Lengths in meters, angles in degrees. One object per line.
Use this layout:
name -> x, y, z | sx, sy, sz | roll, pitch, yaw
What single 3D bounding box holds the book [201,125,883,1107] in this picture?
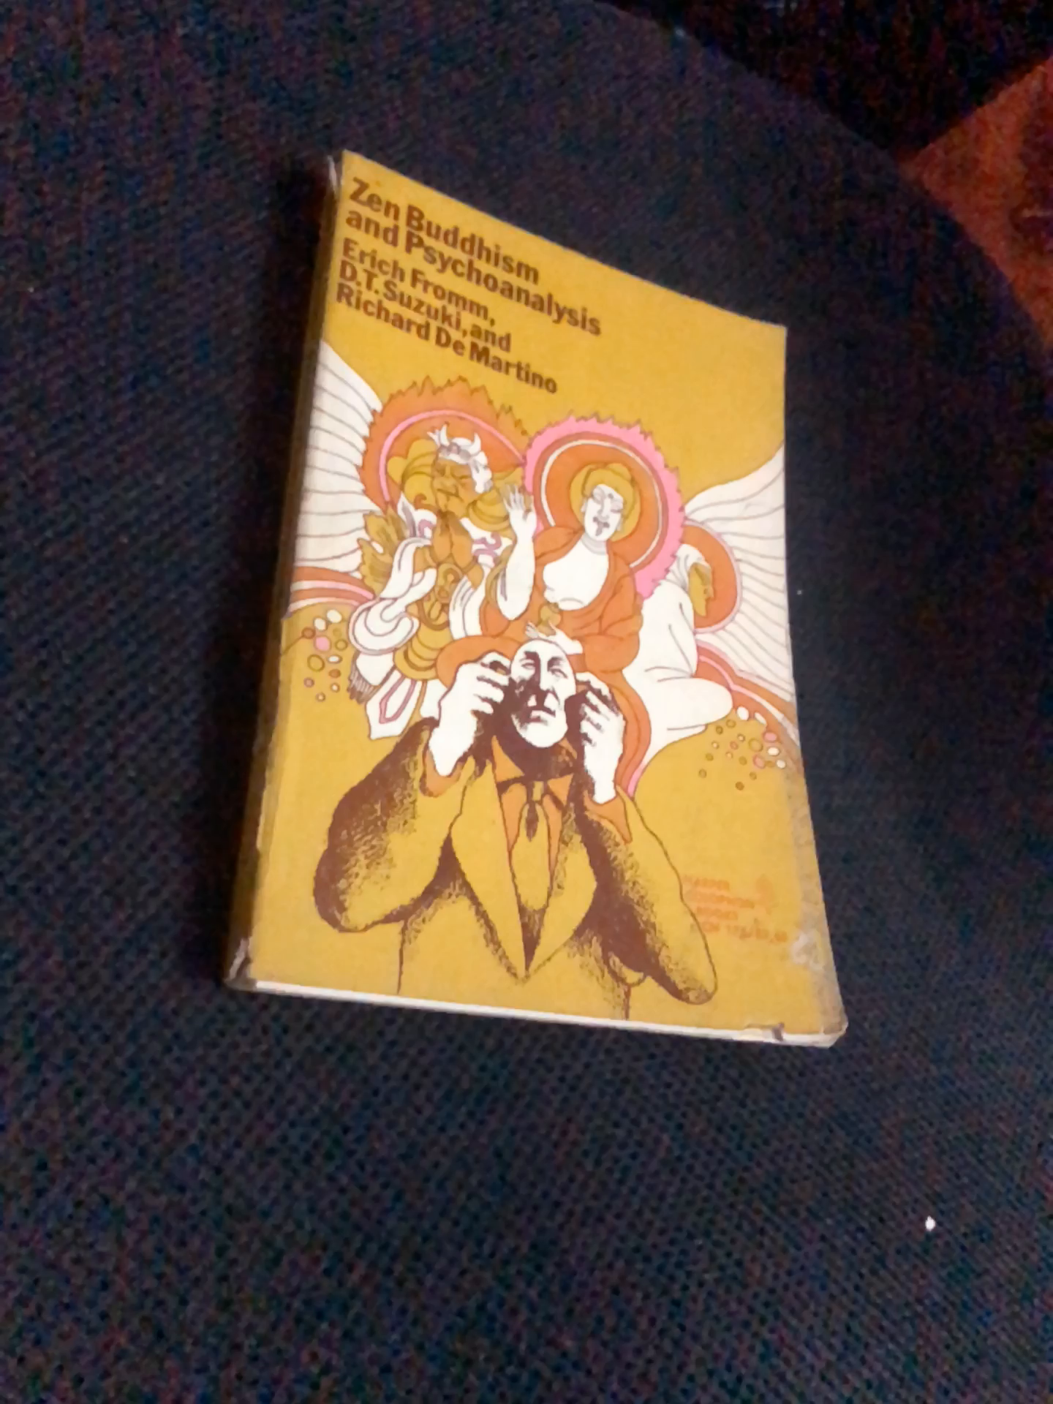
book -> 0.006, -0.019, 0.257 | 0.137, 0.020, 0.200 | 9, 66, -27
